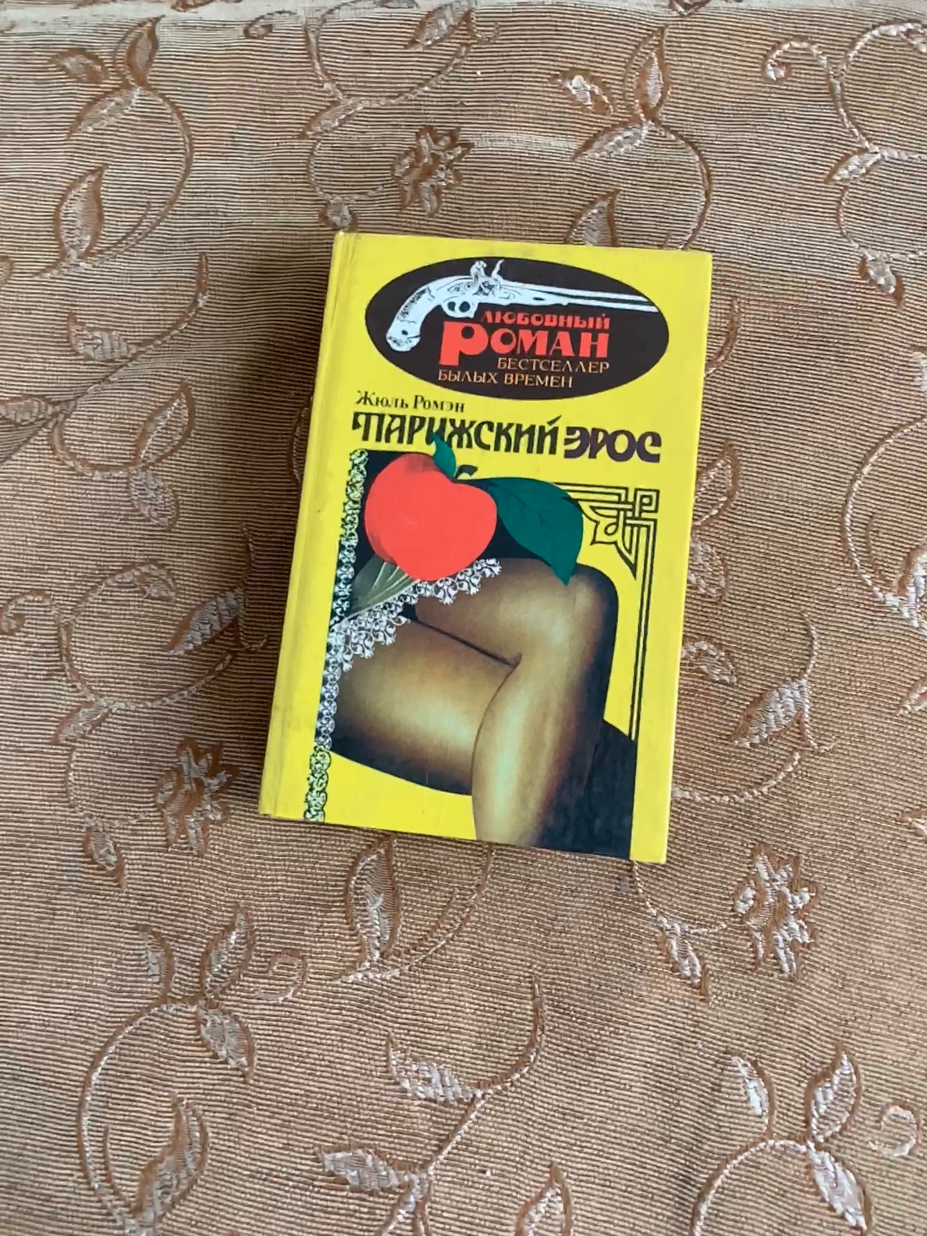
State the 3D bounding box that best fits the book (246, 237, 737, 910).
[{"bbox_3d":[0.012,-0.017,0.308,0.130,0.040,0.196,5,82,5],"label":"book"}]
